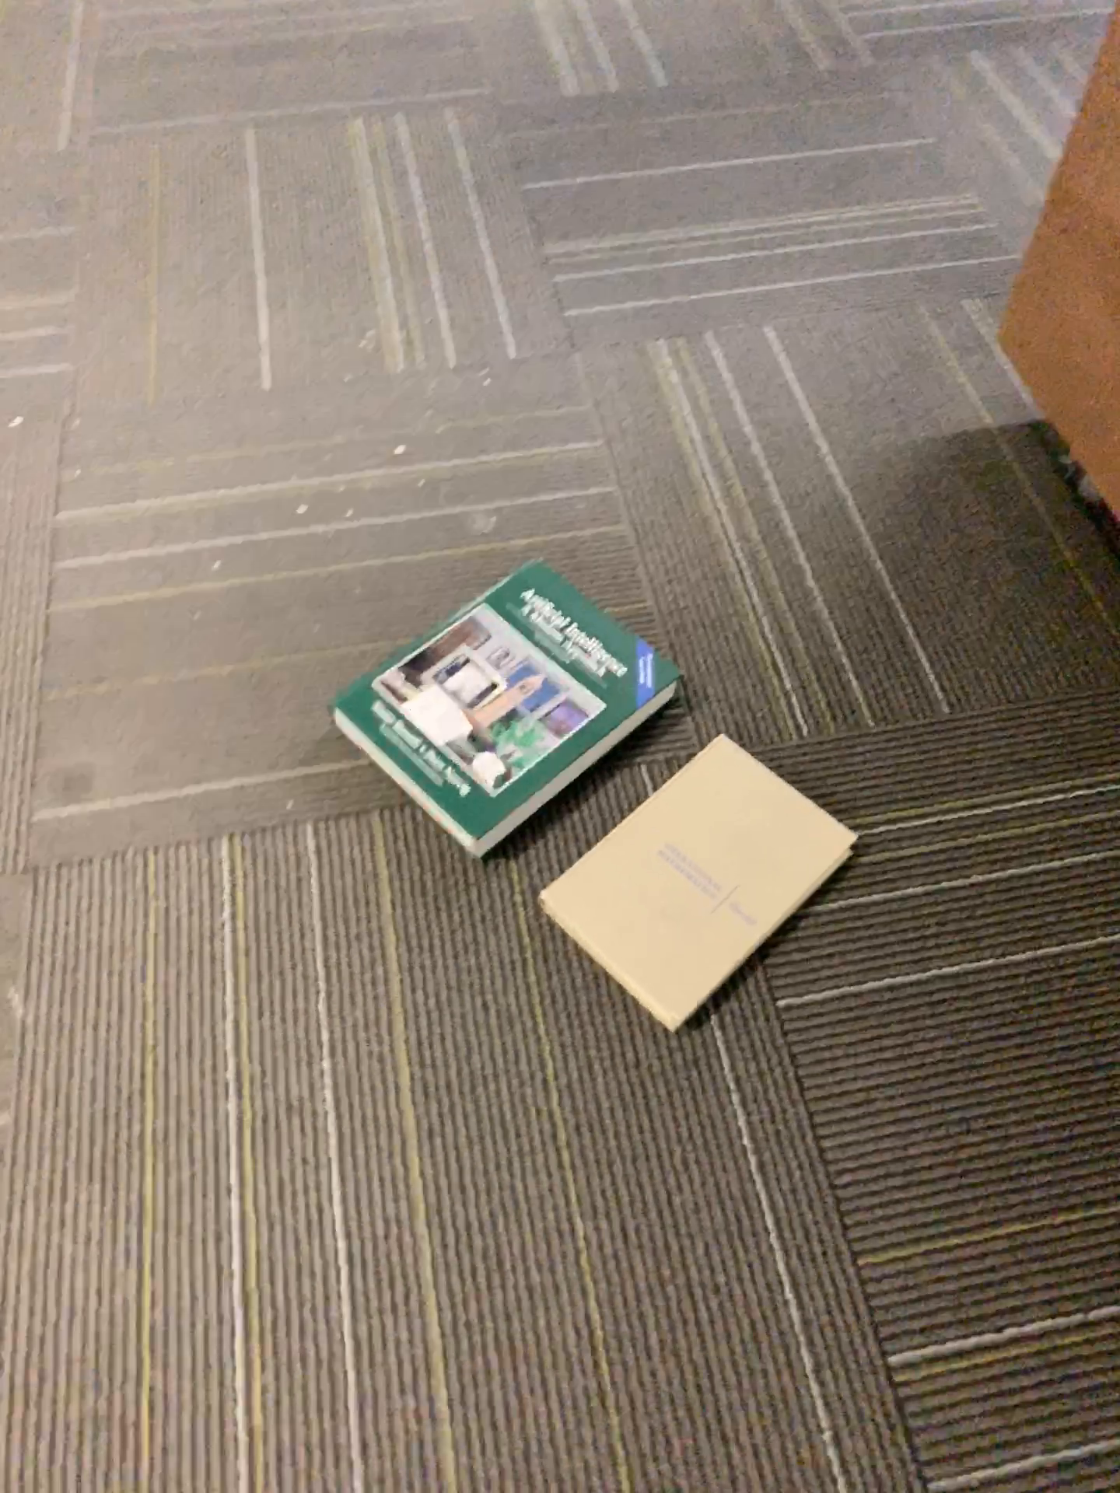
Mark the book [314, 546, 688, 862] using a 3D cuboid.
[{"bbox_3d":[-0.054,-0.053,1.085,0.276,0.030,0.222,-39,64,-23],"label":"book"}]

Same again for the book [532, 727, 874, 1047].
[{"bbox_3d":[0.122,0.110,0.972,0.240,0.030,0.170,-39,64,-23],"label":"book"}]
